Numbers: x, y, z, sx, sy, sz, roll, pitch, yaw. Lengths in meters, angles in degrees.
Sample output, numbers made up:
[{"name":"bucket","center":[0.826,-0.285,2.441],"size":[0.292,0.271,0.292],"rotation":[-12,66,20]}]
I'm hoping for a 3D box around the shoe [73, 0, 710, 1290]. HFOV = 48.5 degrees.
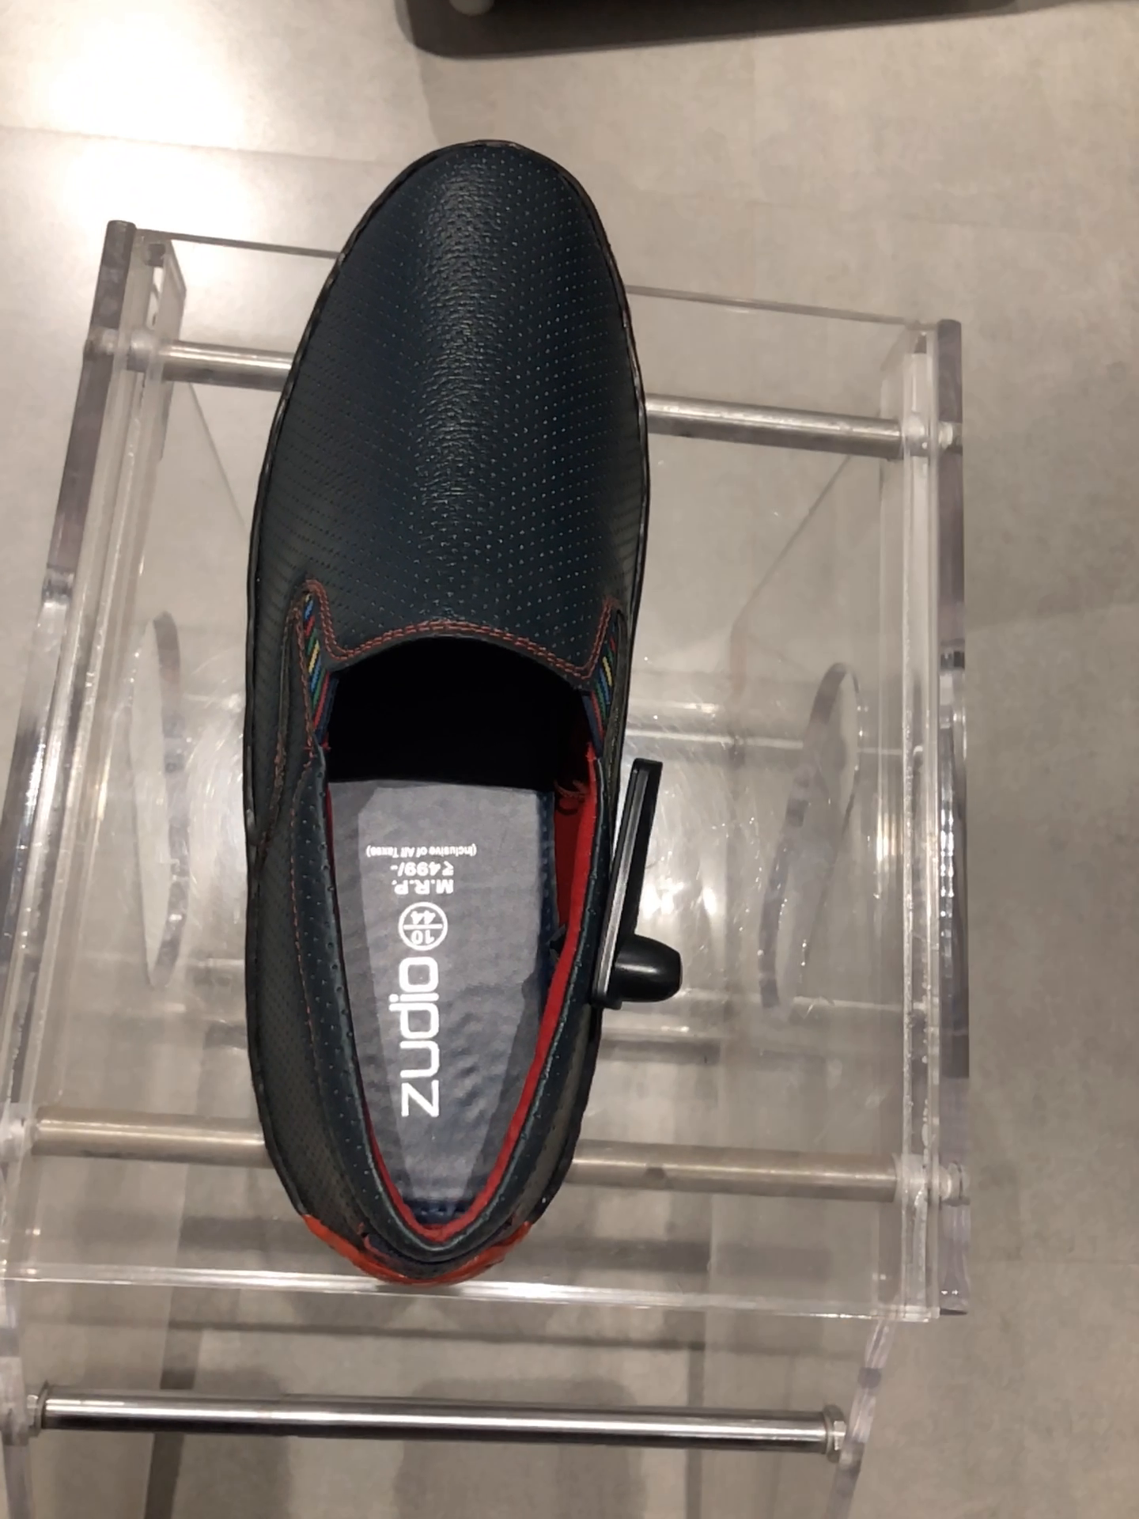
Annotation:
[{"name":"shoe","center":[-0.032,-0.028,0.300],"size":[0.110,0.100,0.270],"rotation":[2,76,-5]}]
